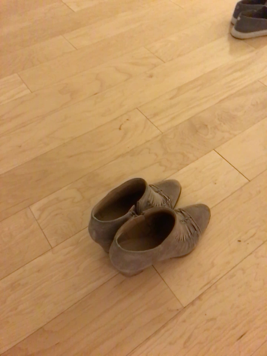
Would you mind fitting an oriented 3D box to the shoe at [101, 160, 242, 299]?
[{"bbox_3d":[0.075,0.095,0.570,0.251,0.109,0.110,-36,62,-21],"label":"shoe"}]

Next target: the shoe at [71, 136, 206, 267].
[{"bbox_3d":[0.016,0.043,0.601,0.251,0.109,0.110,-37,62,-22],"label":"shoe"}]
